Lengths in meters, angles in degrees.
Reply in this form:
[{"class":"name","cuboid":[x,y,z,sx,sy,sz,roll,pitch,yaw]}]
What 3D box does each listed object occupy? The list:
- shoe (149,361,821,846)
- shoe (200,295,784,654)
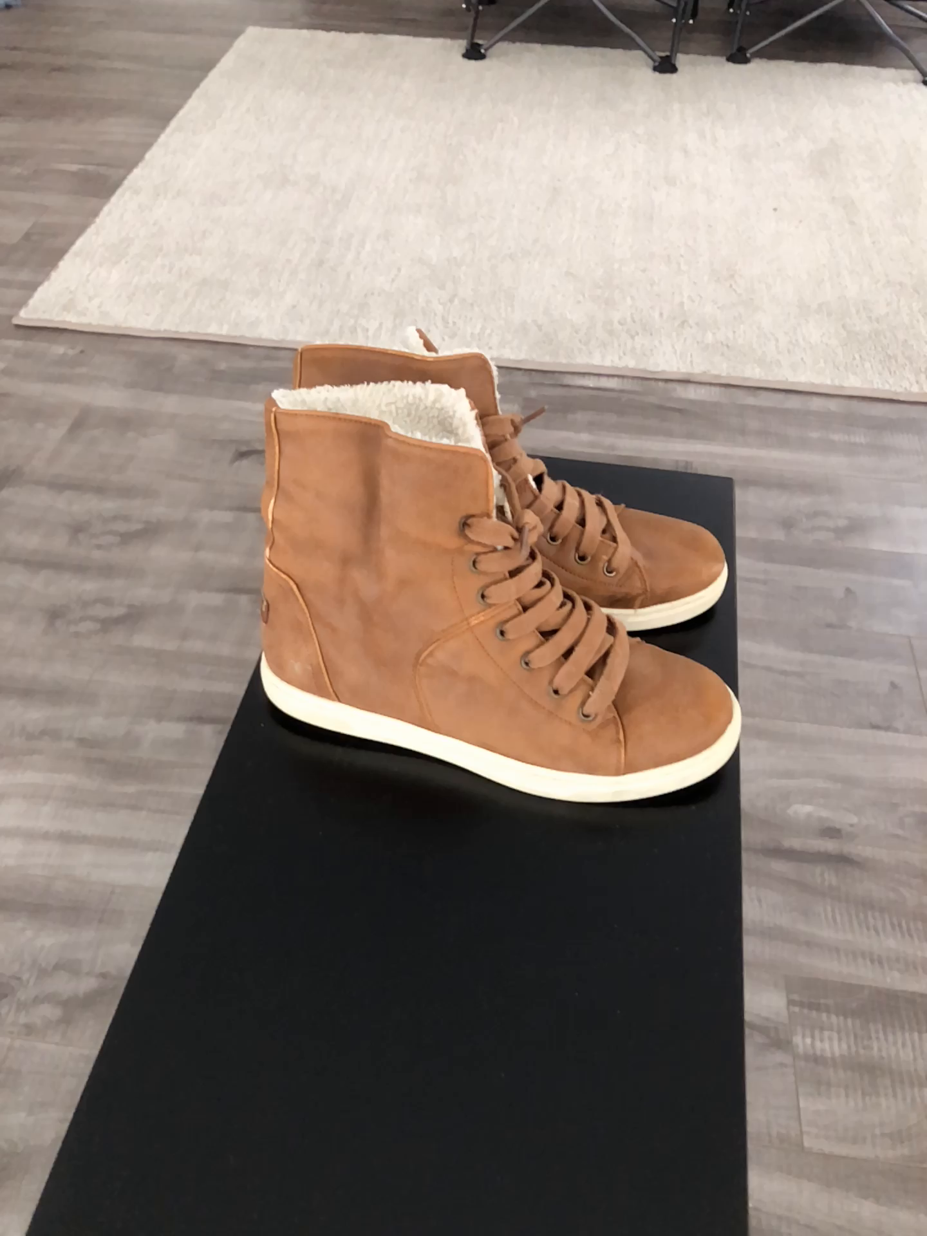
[{"class":"shoe","cuboid":[0.013,-0.007,0.476,0.260,0.150,0.110,10,47,9]},{"class":"shoe","cuboid":[0.013,-0.075,0.542,0.260,0.140,0.110,3,47,2]}]
